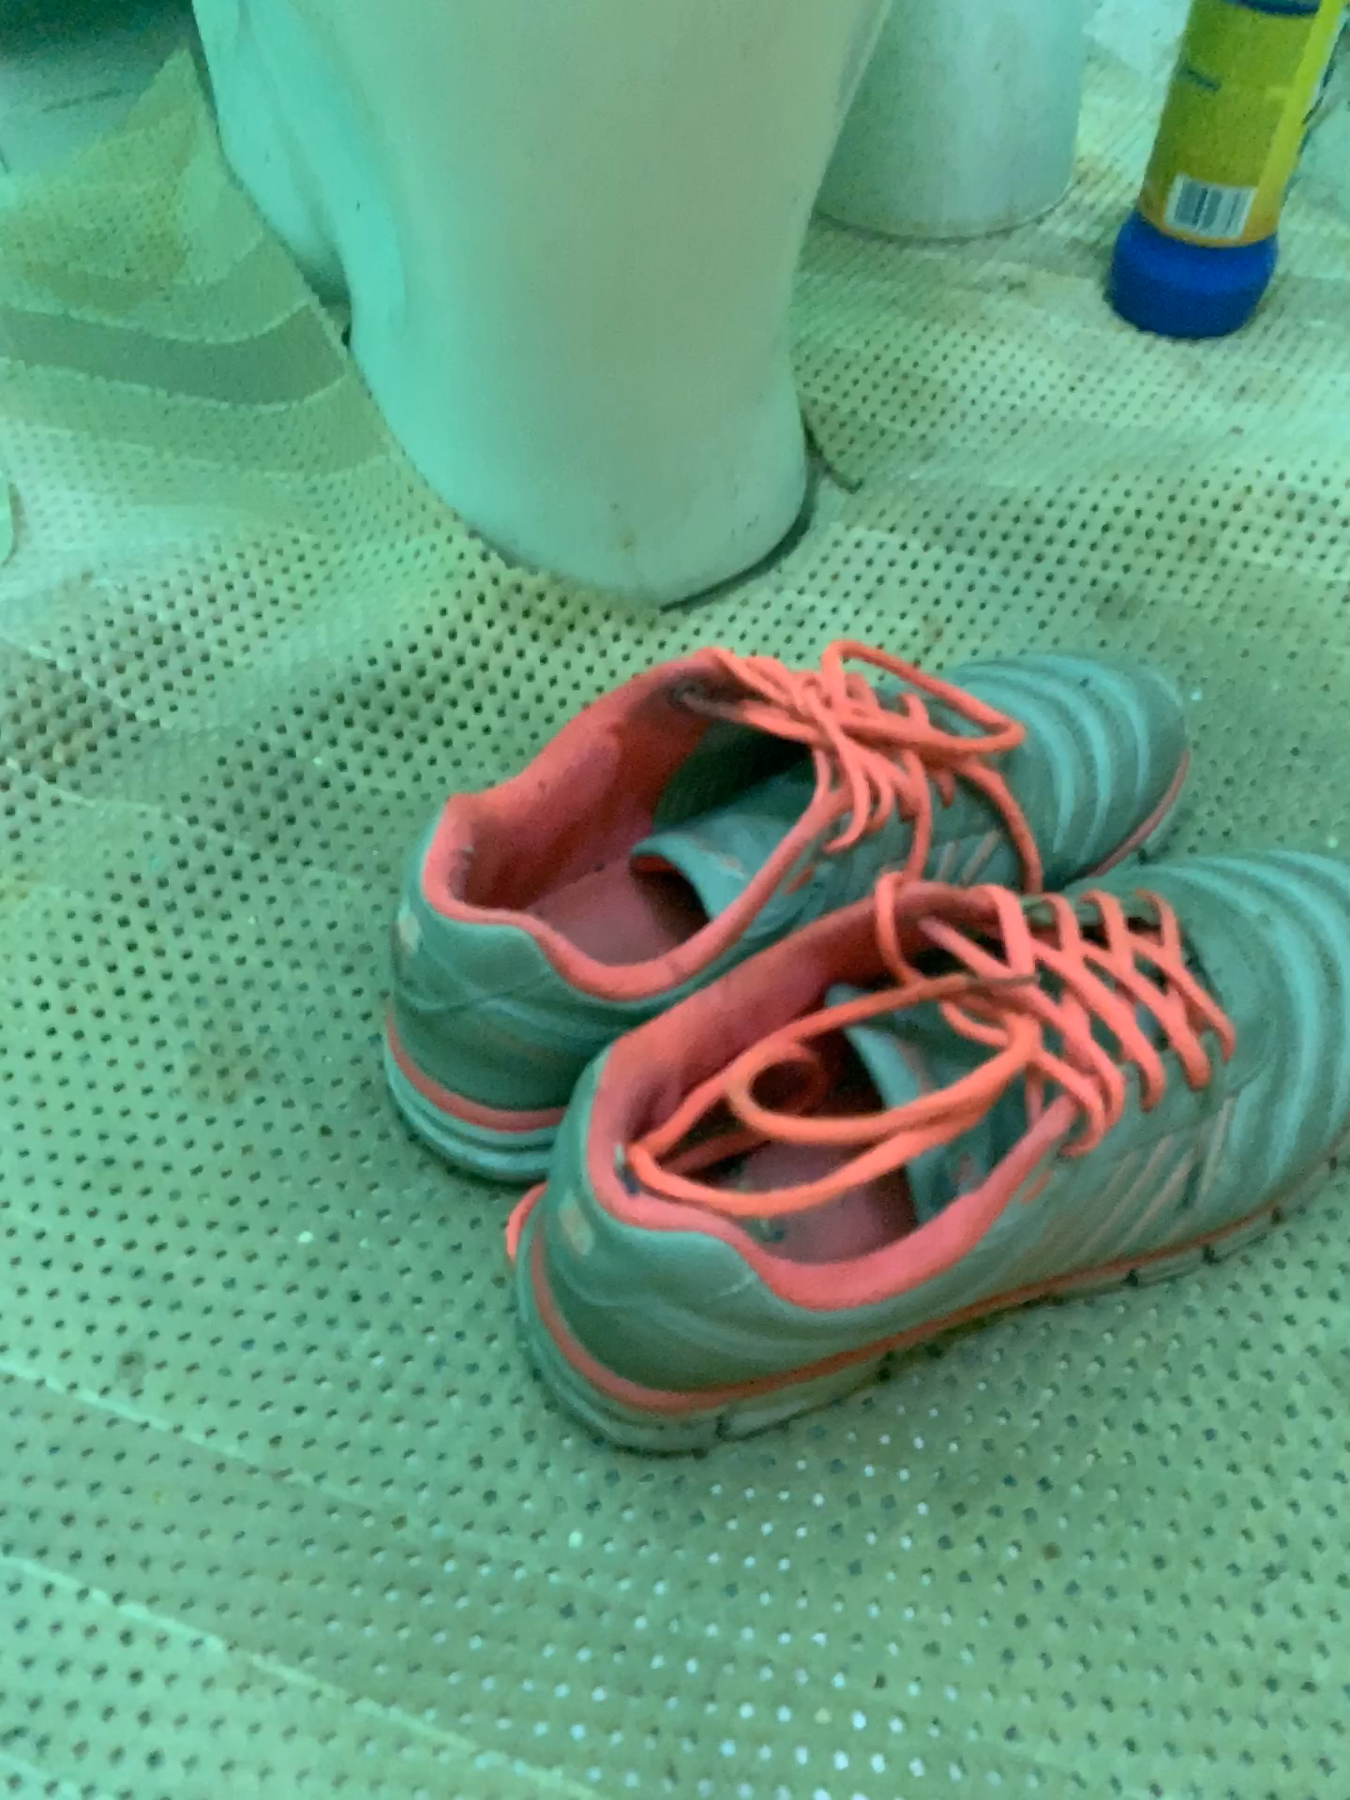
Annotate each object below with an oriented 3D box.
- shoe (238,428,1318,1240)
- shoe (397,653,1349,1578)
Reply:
[{"bbox_3d":[0.031,-0.027,0.405,0.270,0.089,0.111,-25,58,-15],"label":"shoe"},{"bbox_3d":[0.083,0.047,0.344,0.268,0.089,0.111,-20,57,-12],"label":"shoe"}]
